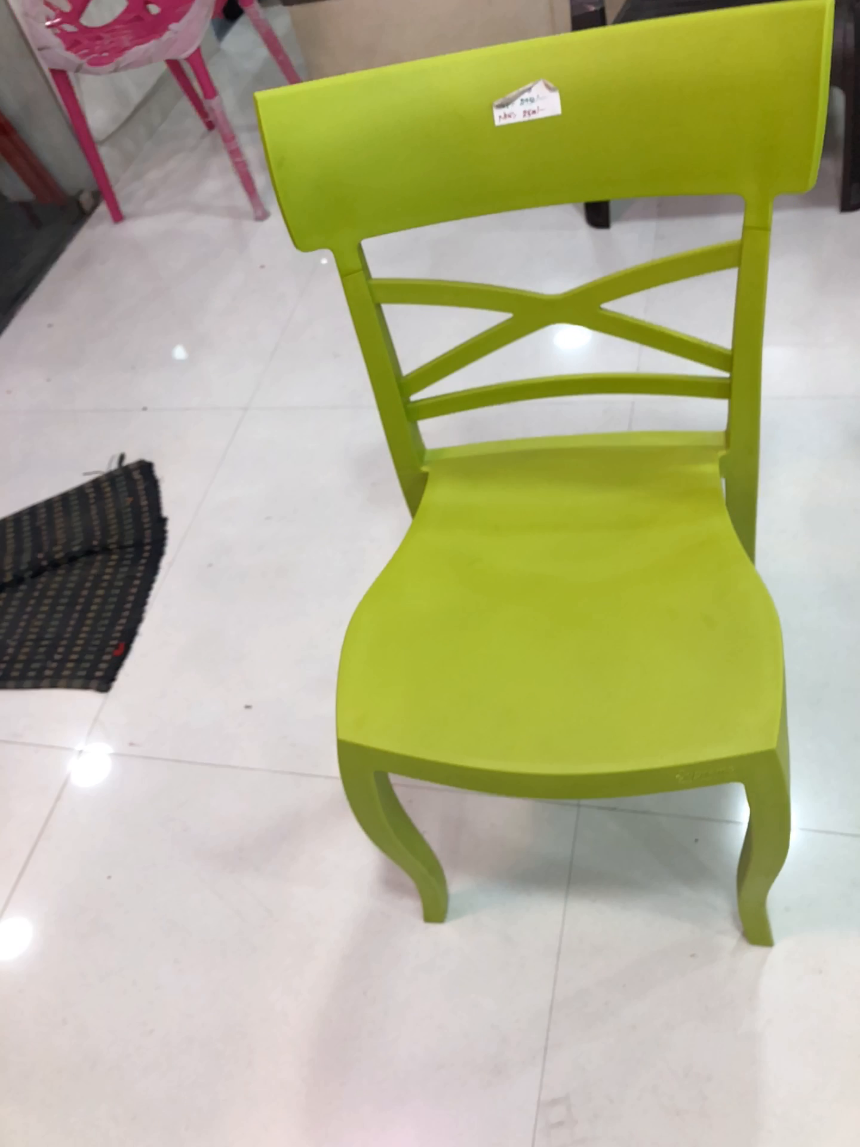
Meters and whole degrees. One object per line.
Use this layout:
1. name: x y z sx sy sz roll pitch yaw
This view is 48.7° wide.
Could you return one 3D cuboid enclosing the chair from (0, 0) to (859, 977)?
1. chair: 0.134 -0.061 0.957 0.499 0.806 0.614 -1 51 16
